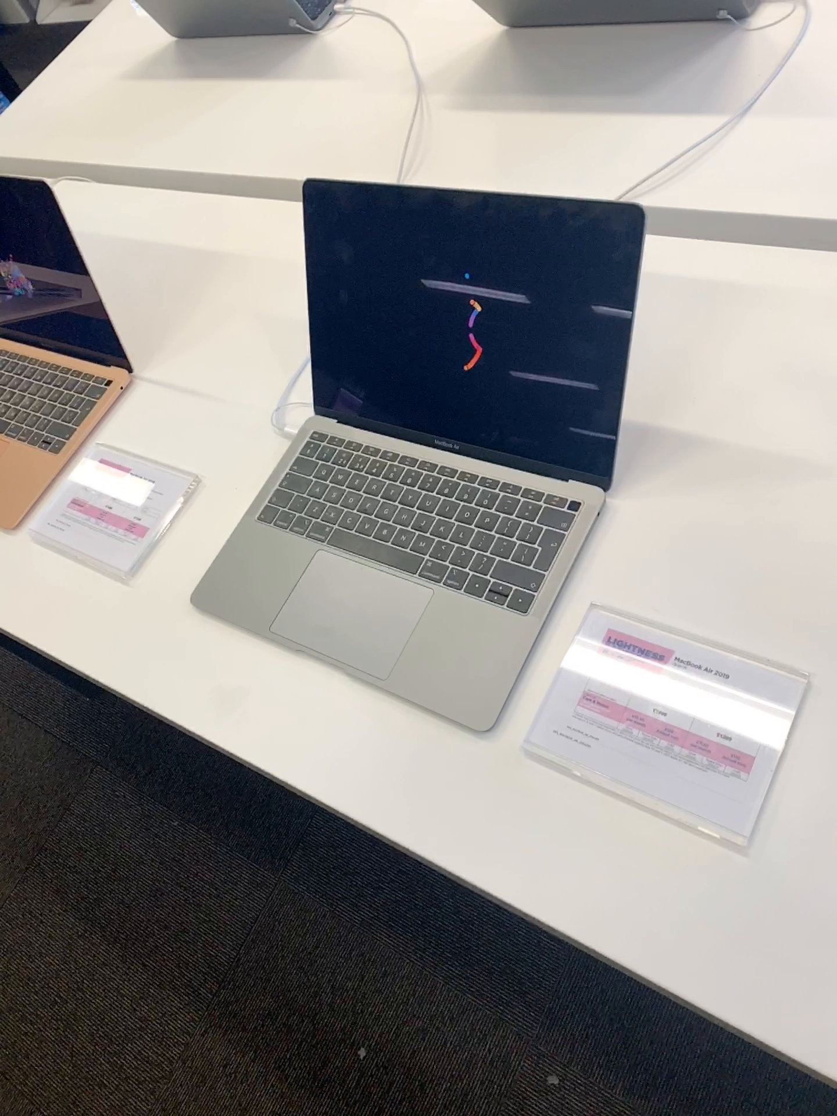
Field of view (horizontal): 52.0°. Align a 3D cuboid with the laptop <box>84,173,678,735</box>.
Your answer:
[{"bbox_3d":[-0.012,-0.098,0.639,0.290,0.160,0.329,18,68,30],"label":"laptop"}]
